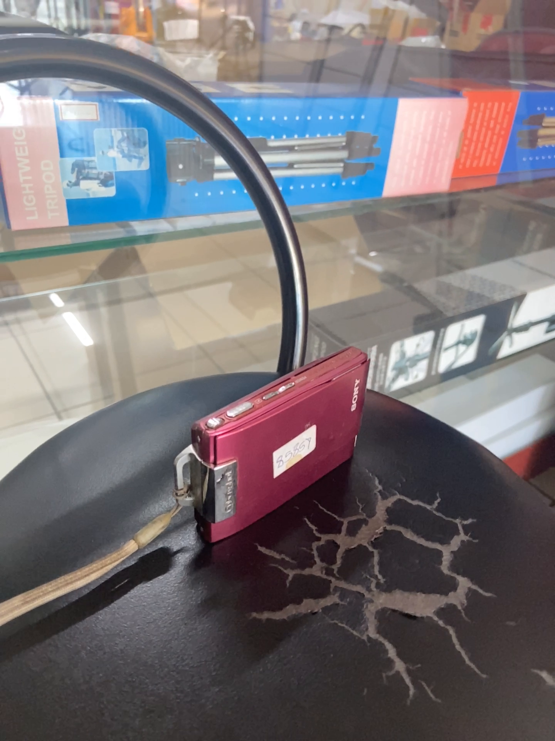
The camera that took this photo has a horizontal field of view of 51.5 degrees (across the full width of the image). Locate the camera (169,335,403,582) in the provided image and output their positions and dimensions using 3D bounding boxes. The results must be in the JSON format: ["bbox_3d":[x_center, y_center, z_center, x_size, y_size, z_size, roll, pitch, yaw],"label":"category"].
[{"bbox_3d":[0.006,0.032,0.242,0.100,0.060,0.030,-25,42,-38],"label":"camera"}]
